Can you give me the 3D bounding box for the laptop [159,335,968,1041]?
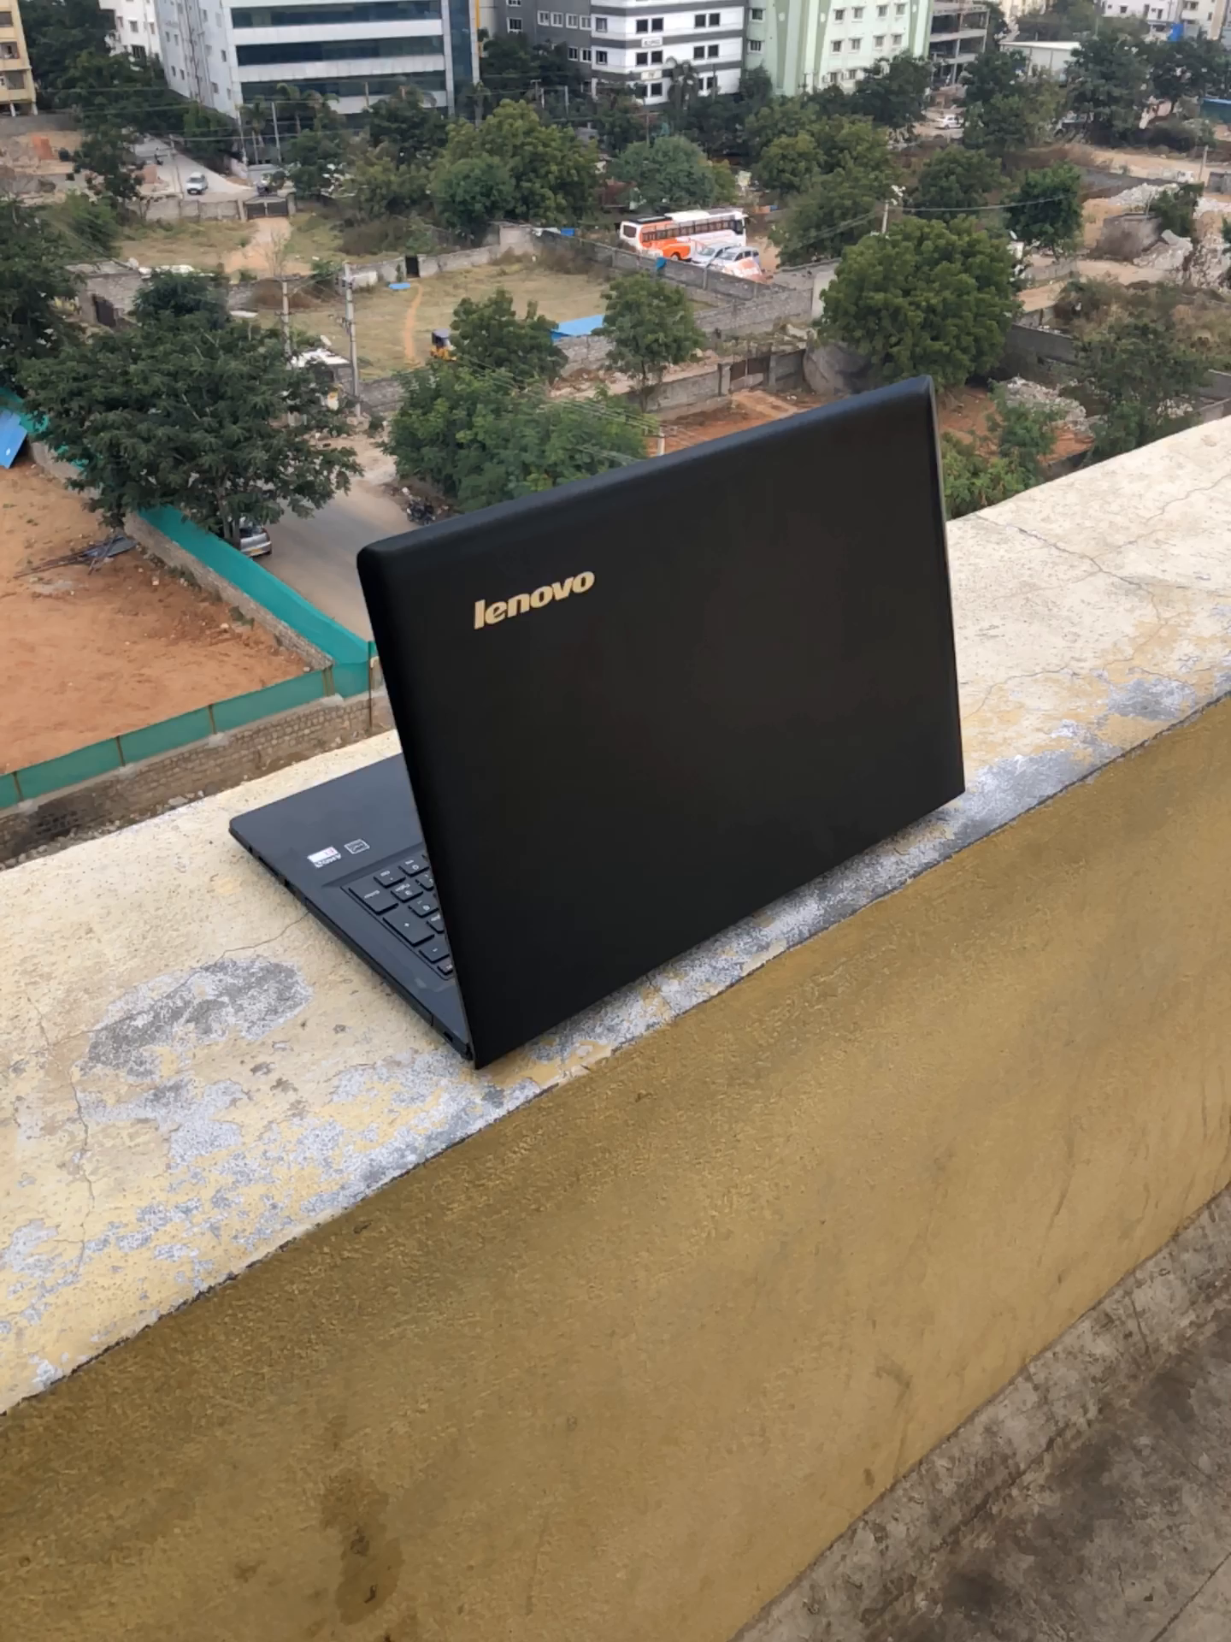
[{"bbox_3d":[-0.026,-0.101,0.754,0.334,0.223,0.246,-26,41,-31],"label":"laptop"}]
